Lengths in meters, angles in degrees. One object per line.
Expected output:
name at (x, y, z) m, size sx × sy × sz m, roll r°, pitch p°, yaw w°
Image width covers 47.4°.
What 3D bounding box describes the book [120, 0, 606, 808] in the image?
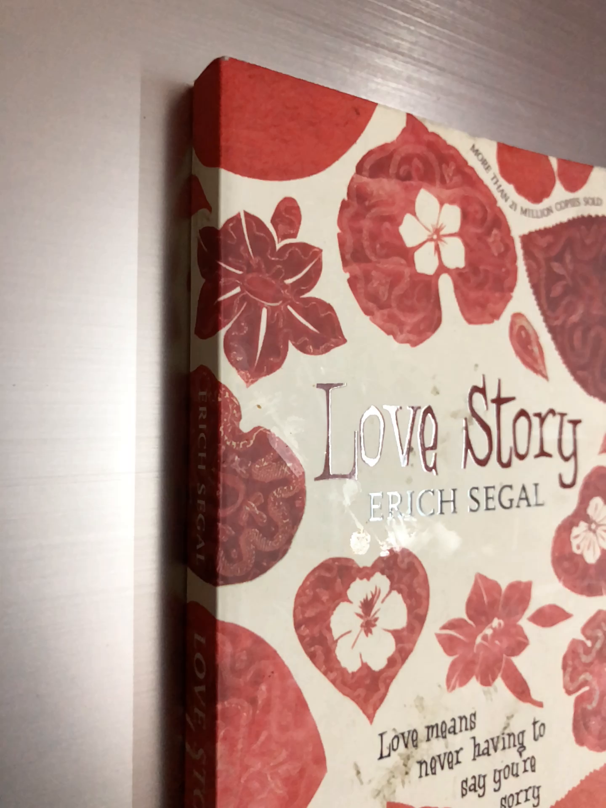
book at (0.024, 0.022, 0.154) m, size 0.120 × 0.030 × 0.180 m, roll 1°, pitch 87°, yaw -33°
